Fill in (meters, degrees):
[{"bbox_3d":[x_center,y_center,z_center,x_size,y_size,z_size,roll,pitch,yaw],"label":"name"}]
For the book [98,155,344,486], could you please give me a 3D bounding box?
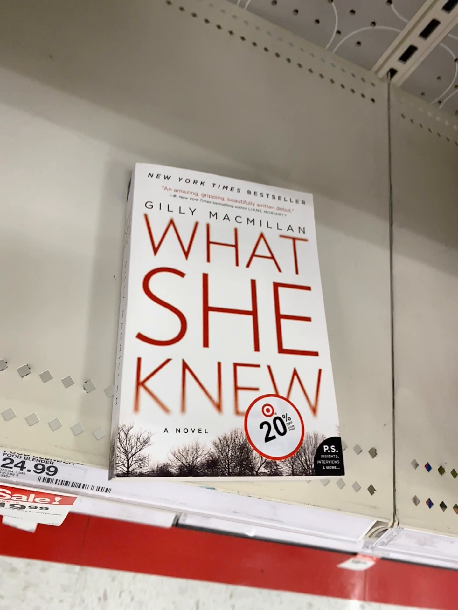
[{"bbox_3d":[-0.007,0.008,0.304,0.130,0.041,0.197,6,65,-18],"label":"book"}]
